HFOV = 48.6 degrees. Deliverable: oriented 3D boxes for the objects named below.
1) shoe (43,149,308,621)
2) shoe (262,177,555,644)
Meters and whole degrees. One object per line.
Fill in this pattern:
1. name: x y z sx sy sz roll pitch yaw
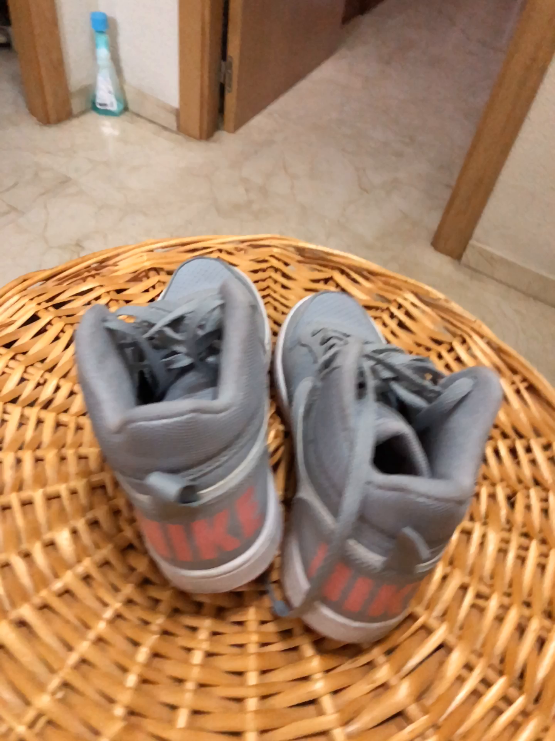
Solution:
1. shoe: -0.046 -0.004 0.360 0.098 0.117 0.248 -6 51 1
2. shoe: 0.049 0.007 0.362 0.105 0.120 0.252 4 44 -5
